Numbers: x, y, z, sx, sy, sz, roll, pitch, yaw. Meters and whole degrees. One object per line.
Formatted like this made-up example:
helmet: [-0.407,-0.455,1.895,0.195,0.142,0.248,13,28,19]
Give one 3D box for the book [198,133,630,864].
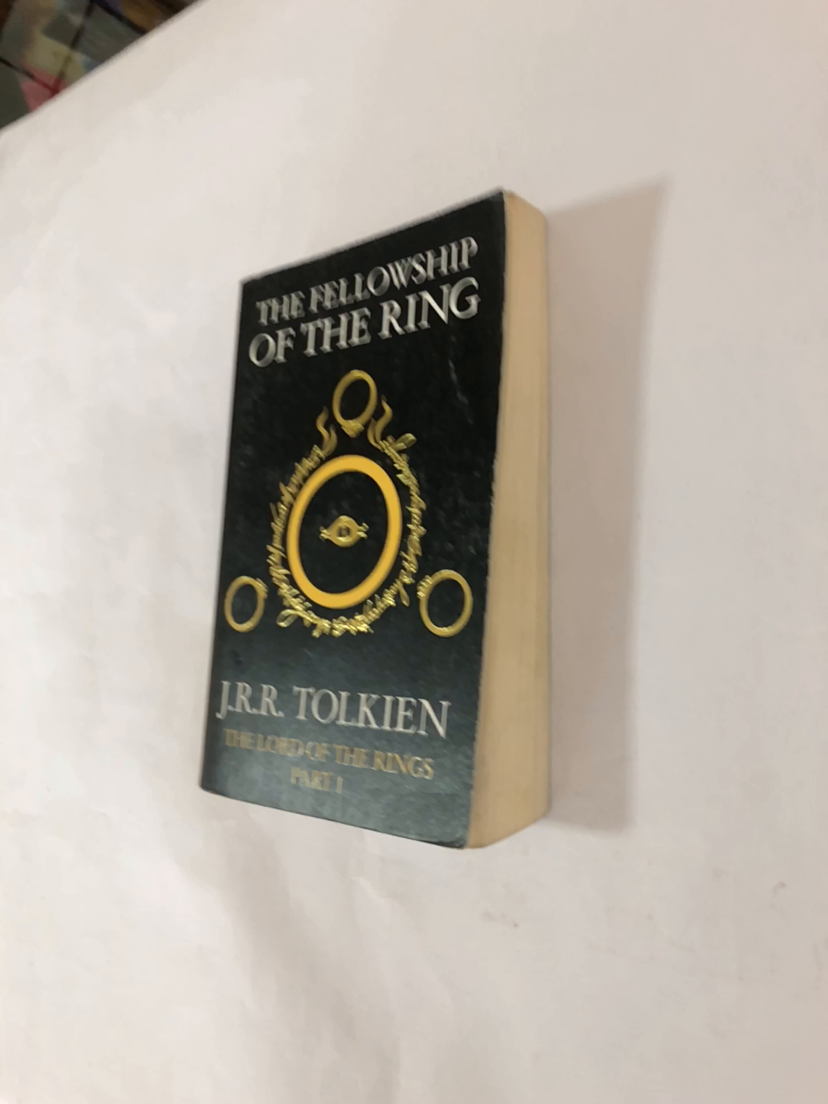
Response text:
book: [-0.004,-0.014,0.312,0.131,0.050,0.200,-2,80,45]
